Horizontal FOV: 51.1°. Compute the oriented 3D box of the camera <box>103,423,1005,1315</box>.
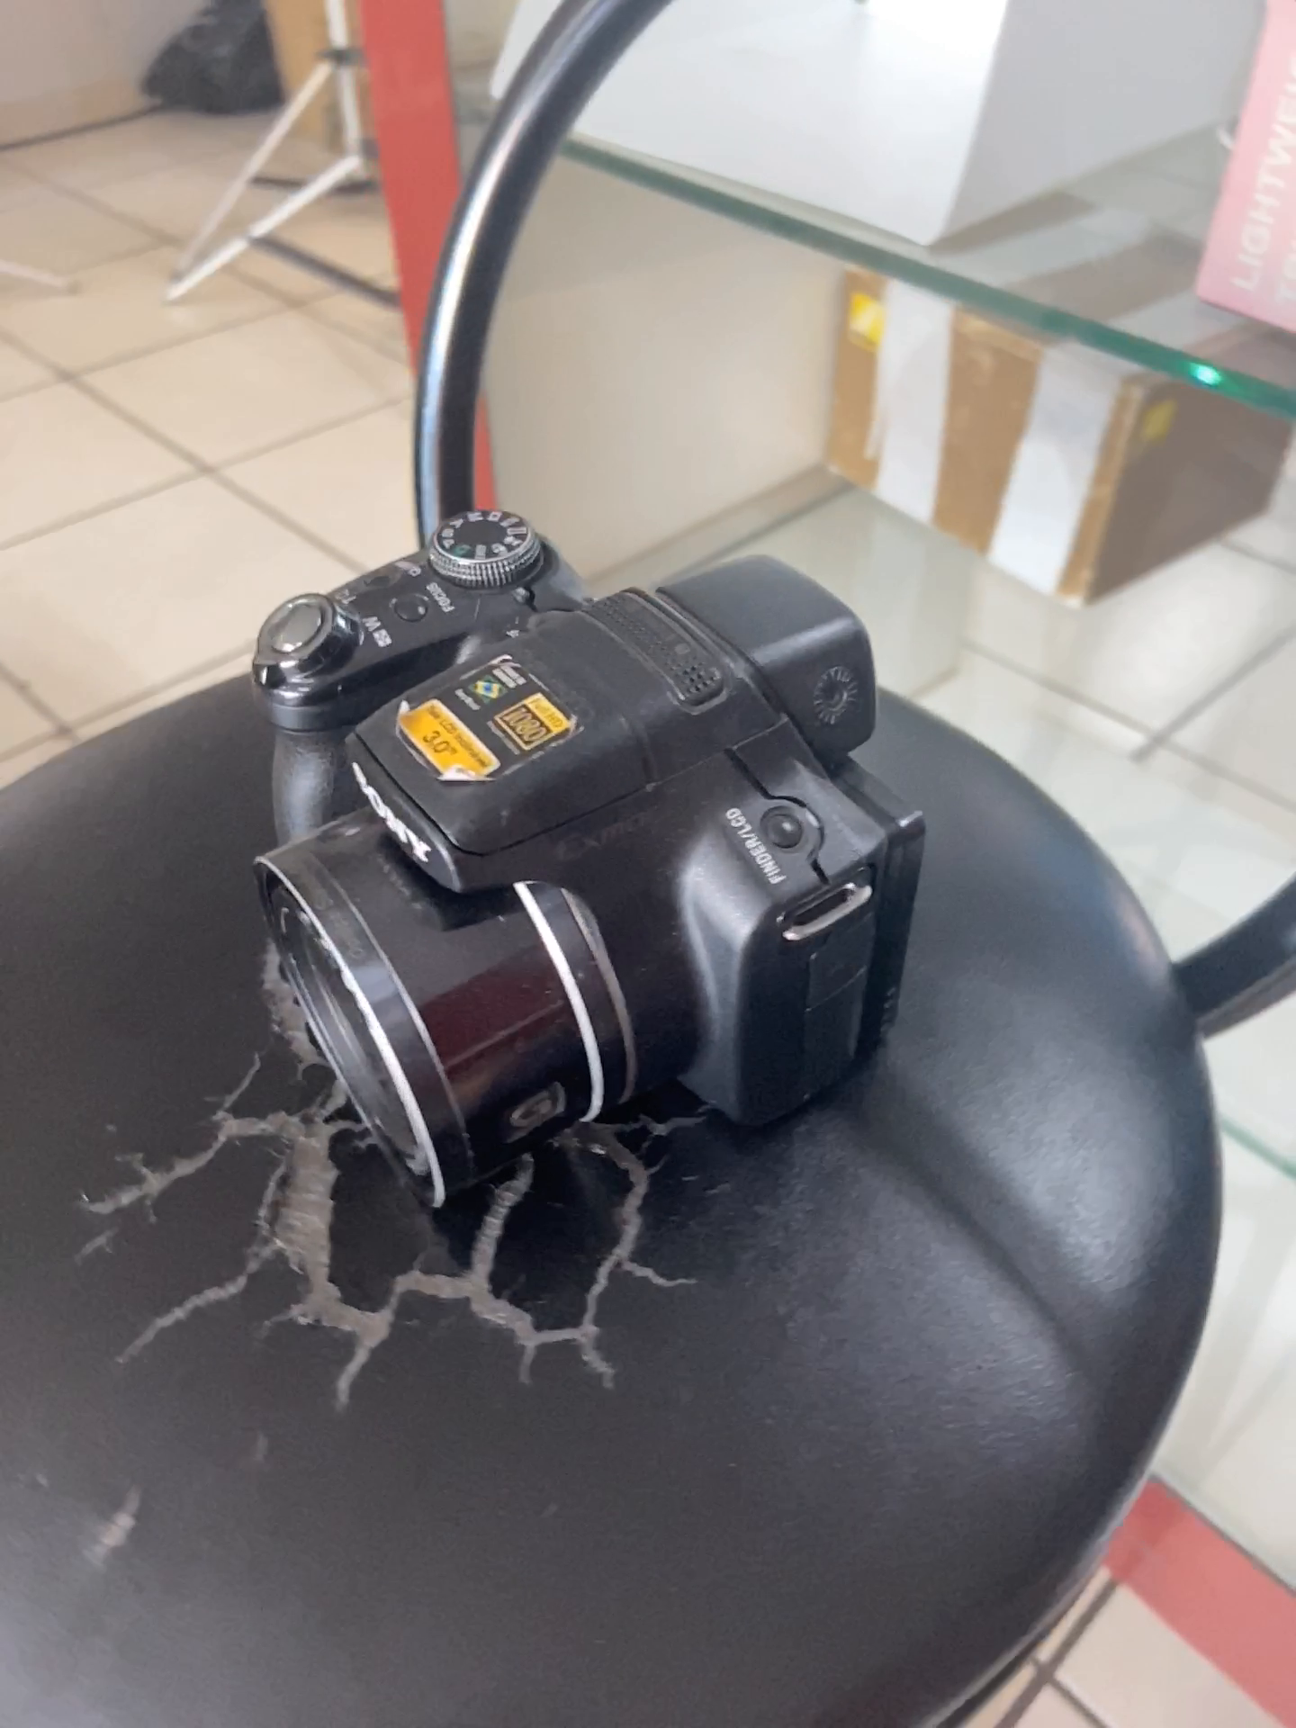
[{"bbox_3d":[-0.017,-0.007,0.234,0.100,0.080,0.100,-25,48,-24],"label":"camera"}]
